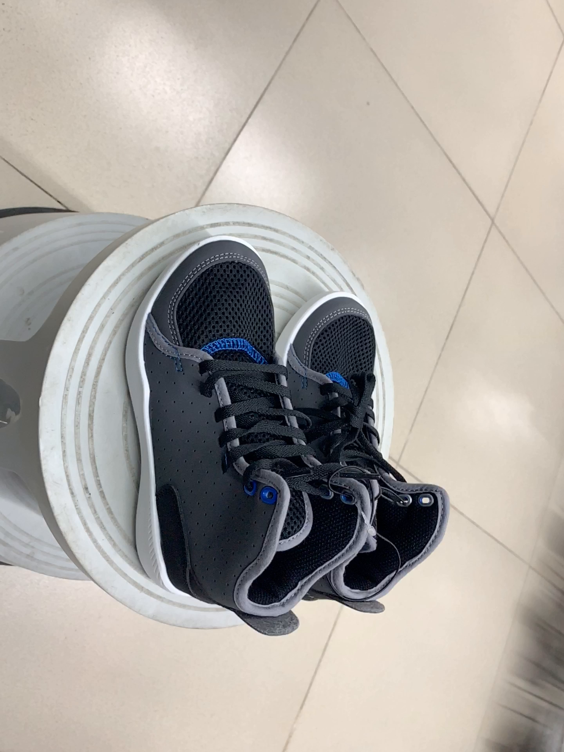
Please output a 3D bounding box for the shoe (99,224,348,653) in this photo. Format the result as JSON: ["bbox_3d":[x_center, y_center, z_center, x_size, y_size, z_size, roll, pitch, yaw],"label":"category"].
[{"bbox_3d":[-0.036,0.030,0.337,0.090,0.100,0.200,5,89,-38],"label":"shoe"}]

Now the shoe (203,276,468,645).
[{"bbox_3d":[0.033,0.049,0.383,0.080,0.119,0.200,16,82,-38],"label":"shoe"}]
